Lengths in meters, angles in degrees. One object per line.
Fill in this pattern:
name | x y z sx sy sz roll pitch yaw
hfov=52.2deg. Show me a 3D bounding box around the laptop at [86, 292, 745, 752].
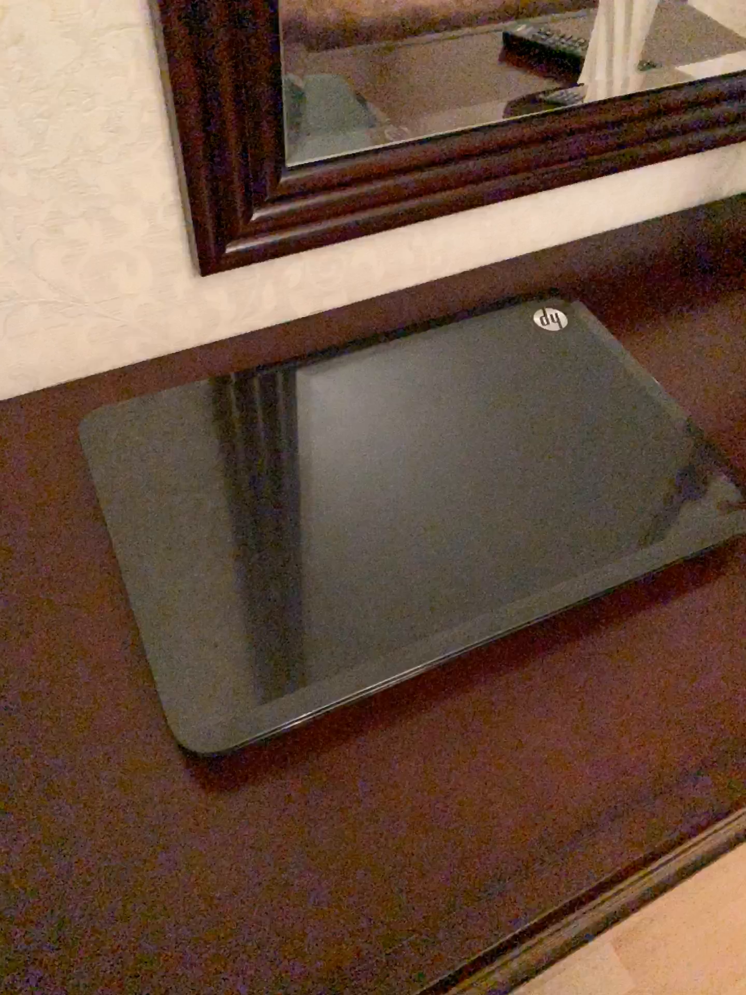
laptop | 0.028 -0.019 0.457 0.345 0.003 0.223 -18 55 -18
